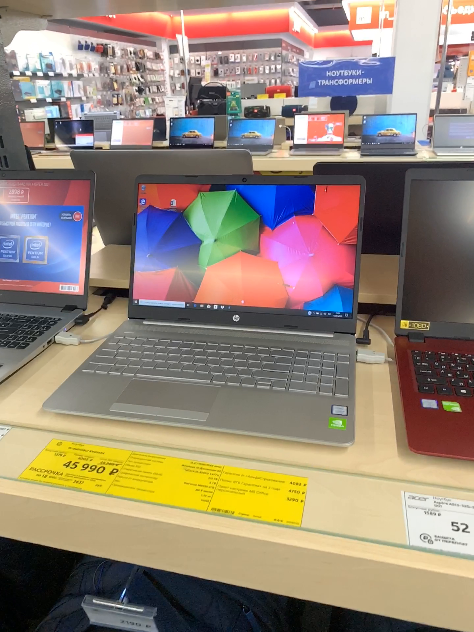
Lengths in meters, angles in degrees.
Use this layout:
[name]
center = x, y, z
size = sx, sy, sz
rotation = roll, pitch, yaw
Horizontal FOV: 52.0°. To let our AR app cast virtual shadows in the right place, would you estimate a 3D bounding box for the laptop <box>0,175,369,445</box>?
[laptop]
center = -0.021, -0.050, 0.643
size = 0.359, 0.209, 0.349
rotation = 4, 25, 13
